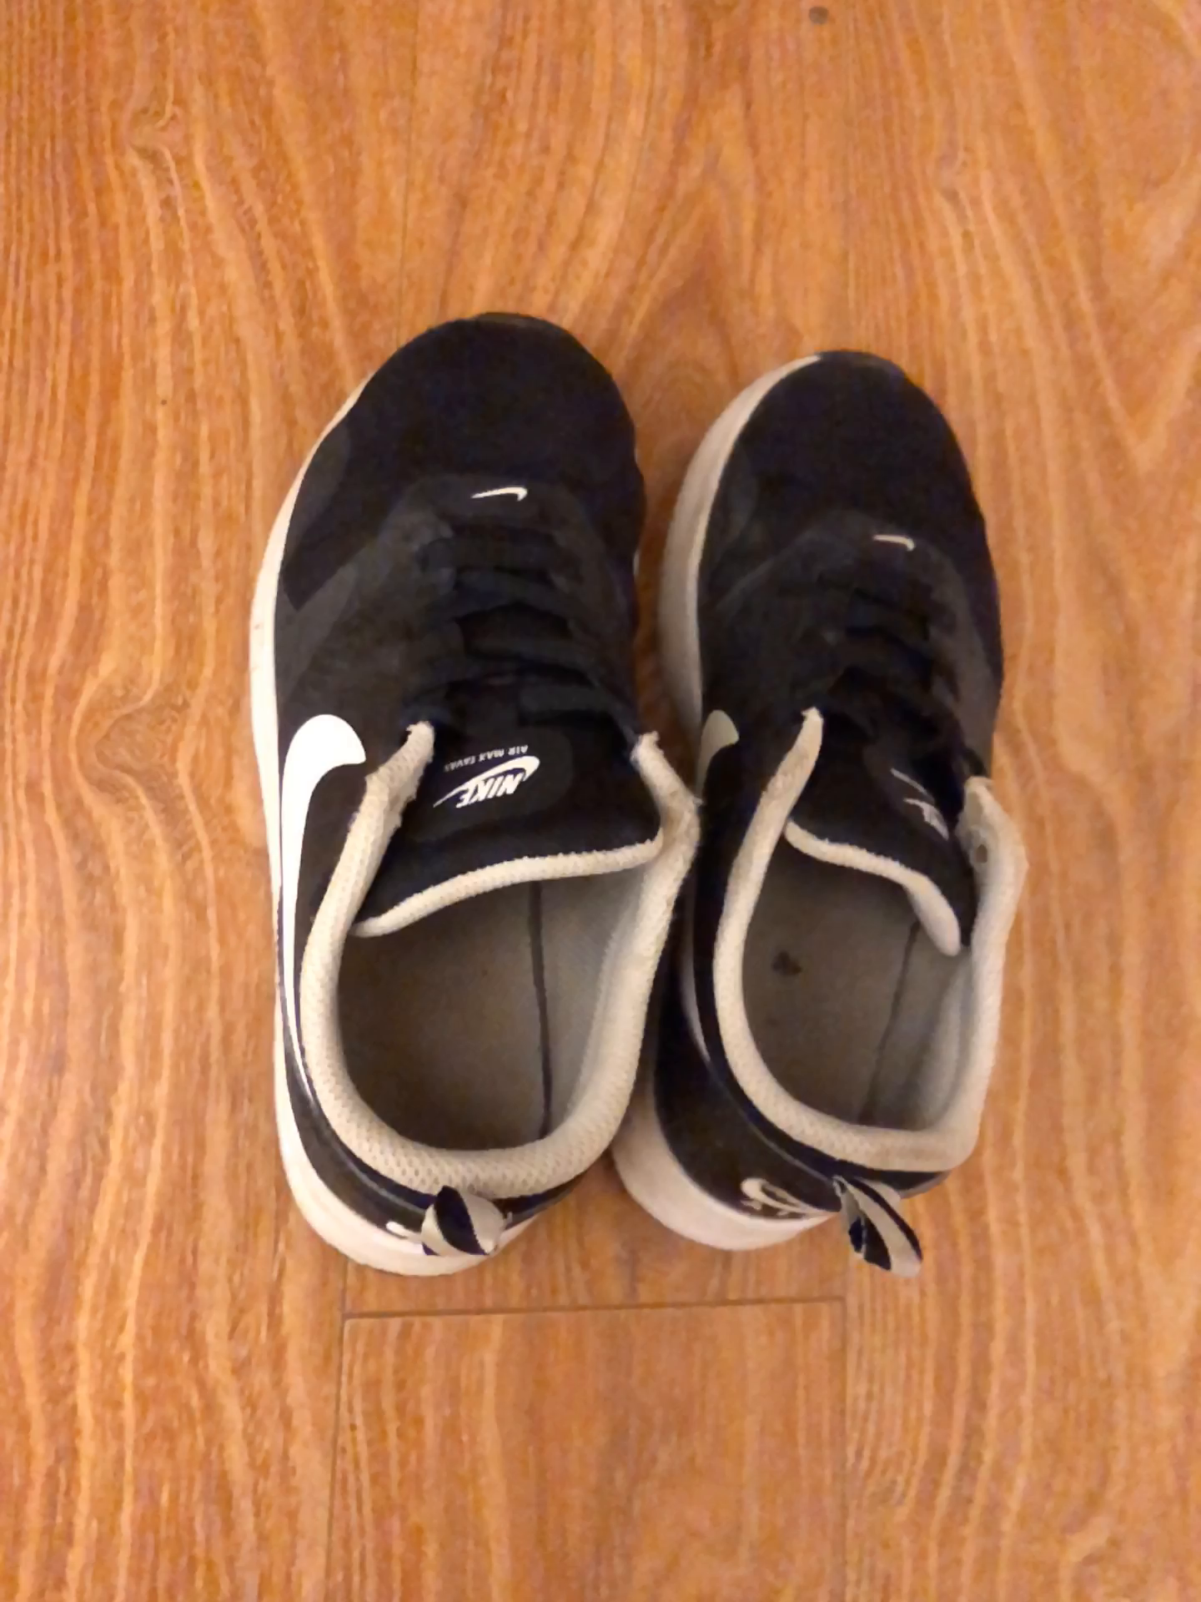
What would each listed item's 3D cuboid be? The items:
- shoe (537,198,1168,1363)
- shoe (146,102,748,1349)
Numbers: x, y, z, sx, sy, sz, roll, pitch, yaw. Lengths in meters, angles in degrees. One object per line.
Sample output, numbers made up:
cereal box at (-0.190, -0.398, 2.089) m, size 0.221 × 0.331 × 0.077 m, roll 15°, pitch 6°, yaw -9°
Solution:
shoe at (0.058, -0.003, 0.315) m, size 0.090 × 0.080 × 0.230 m, roll 13°, pitch 79°, yaw -15°
shoe at (-0.034, -0.012, 0.292) m, size 0.090 × 0.080 × 0.230 m, roll 8°, pitch 81°, yaw -16°
